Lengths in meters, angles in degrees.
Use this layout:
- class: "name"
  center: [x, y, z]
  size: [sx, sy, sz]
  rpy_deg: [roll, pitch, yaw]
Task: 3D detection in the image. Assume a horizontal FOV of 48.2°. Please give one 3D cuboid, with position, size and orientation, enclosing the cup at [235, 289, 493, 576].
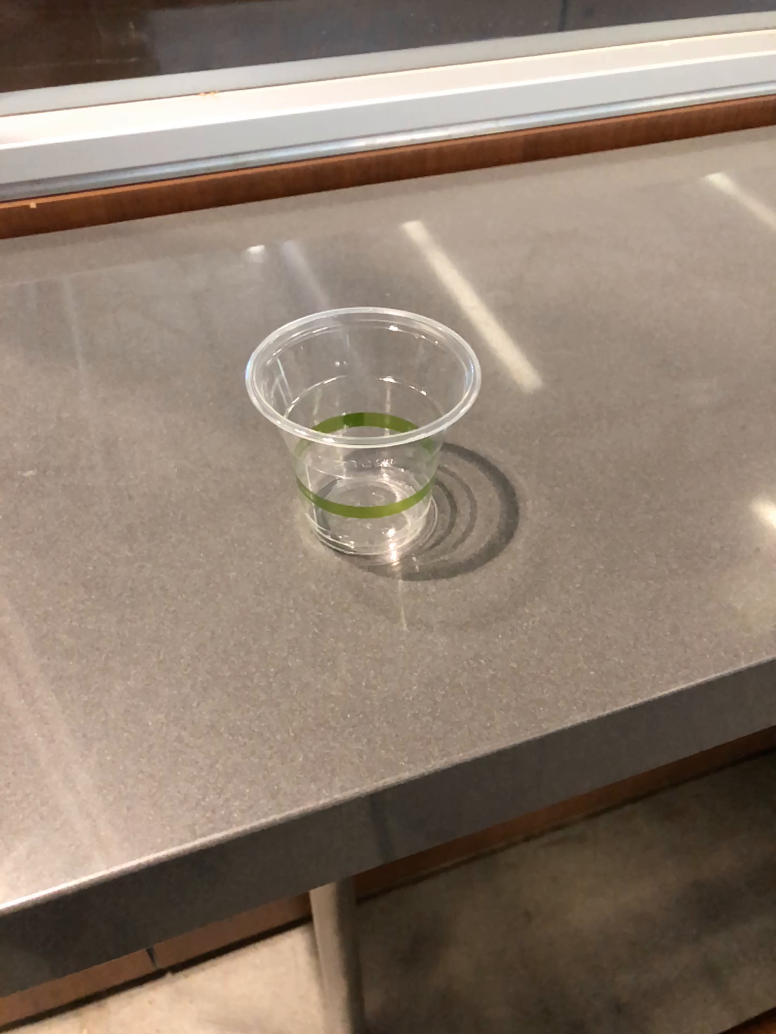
- class: "cup"
  center: [-0.004, -0.029, 0.287]
  size: [0.070, 0.060, 0.070]
  rpy_deg: [0, 43, 0]
